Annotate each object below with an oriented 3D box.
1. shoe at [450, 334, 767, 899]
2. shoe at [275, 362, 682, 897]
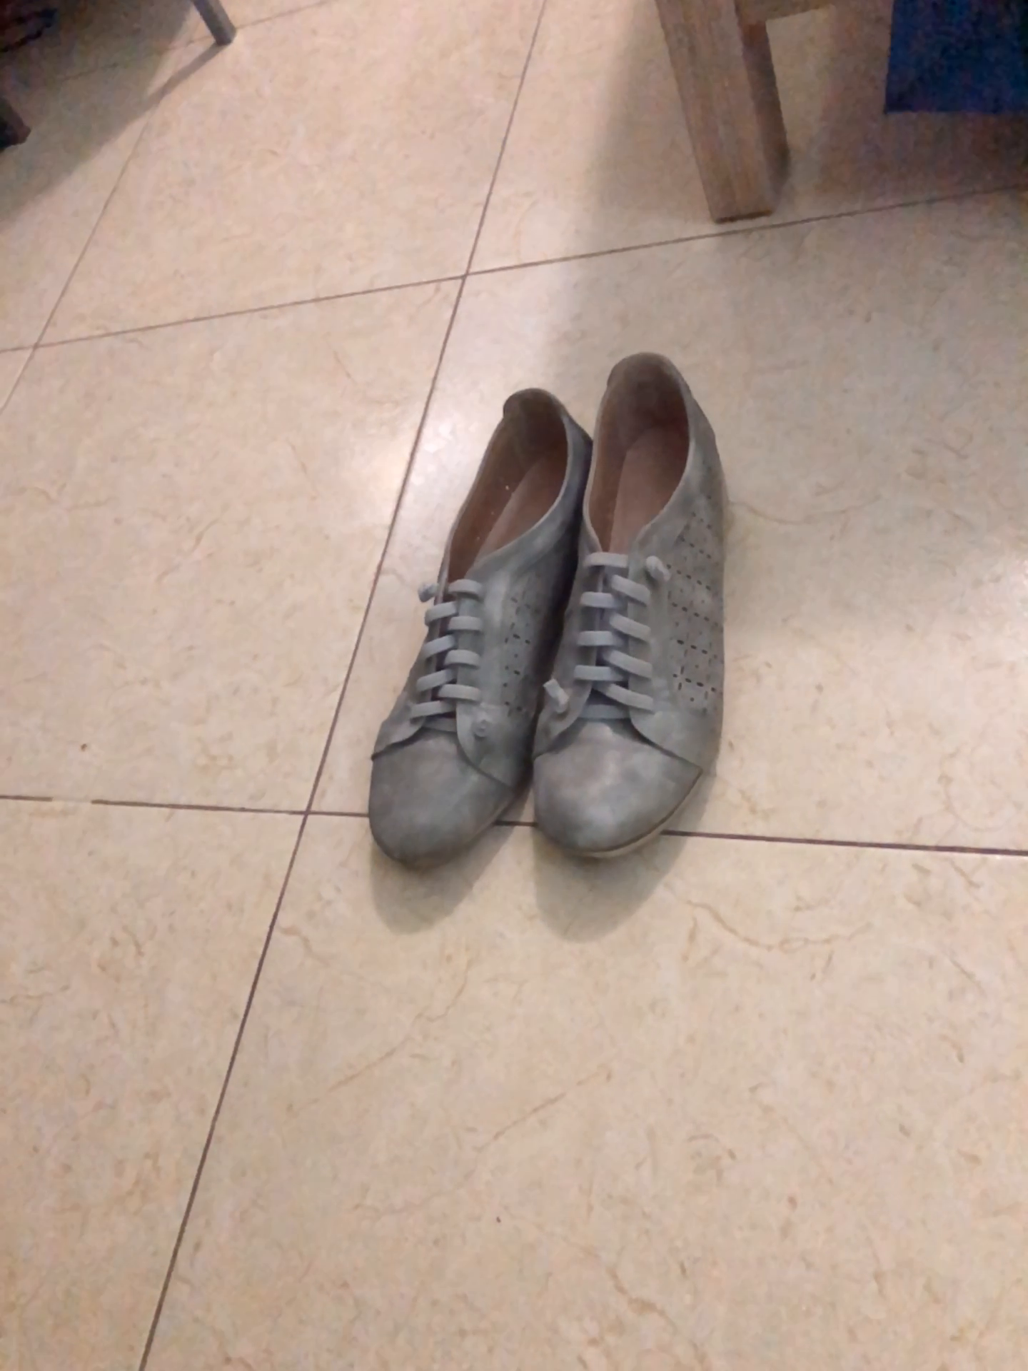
[{"bbox_3d":[0.063,-0.043,0.622,0.100,0.100,0.290,0,61,24],"label":"shoe"},{"bbox_3d":[-0.009,-0.041,0.661,0.100,0.100,0.290,12,66,30],"label":"shoe"}]
